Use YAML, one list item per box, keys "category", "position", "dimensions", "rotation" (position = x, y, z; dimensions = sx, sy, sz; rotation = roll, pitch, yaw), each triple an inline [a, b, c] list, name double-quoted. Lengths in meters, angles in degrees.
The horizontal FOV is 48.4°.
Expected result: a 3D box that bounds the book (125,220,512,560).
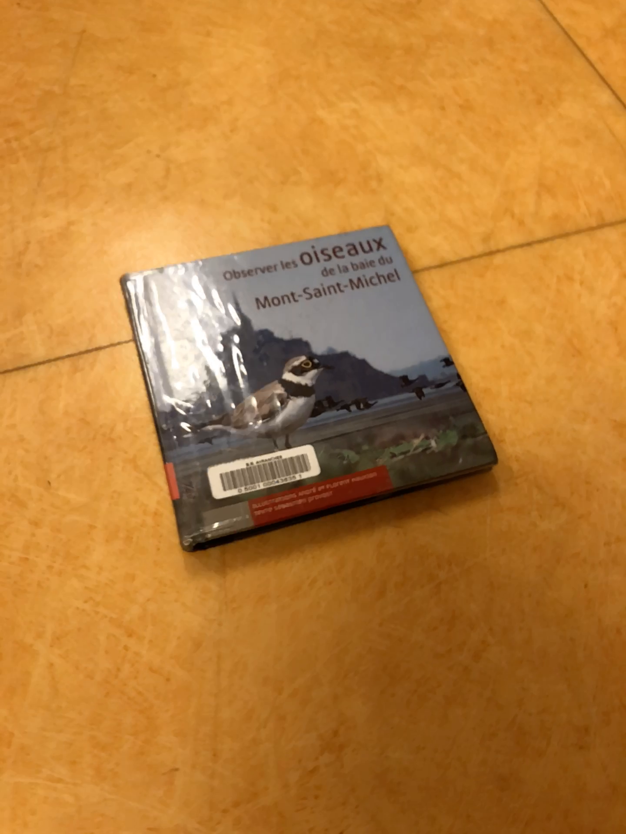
- category: "book"
  position: [-0.003, -0.024, 0.351]
  dimensions: [0.153, 0.015, 0.156]
  rotation: [-14, 63, -11]
